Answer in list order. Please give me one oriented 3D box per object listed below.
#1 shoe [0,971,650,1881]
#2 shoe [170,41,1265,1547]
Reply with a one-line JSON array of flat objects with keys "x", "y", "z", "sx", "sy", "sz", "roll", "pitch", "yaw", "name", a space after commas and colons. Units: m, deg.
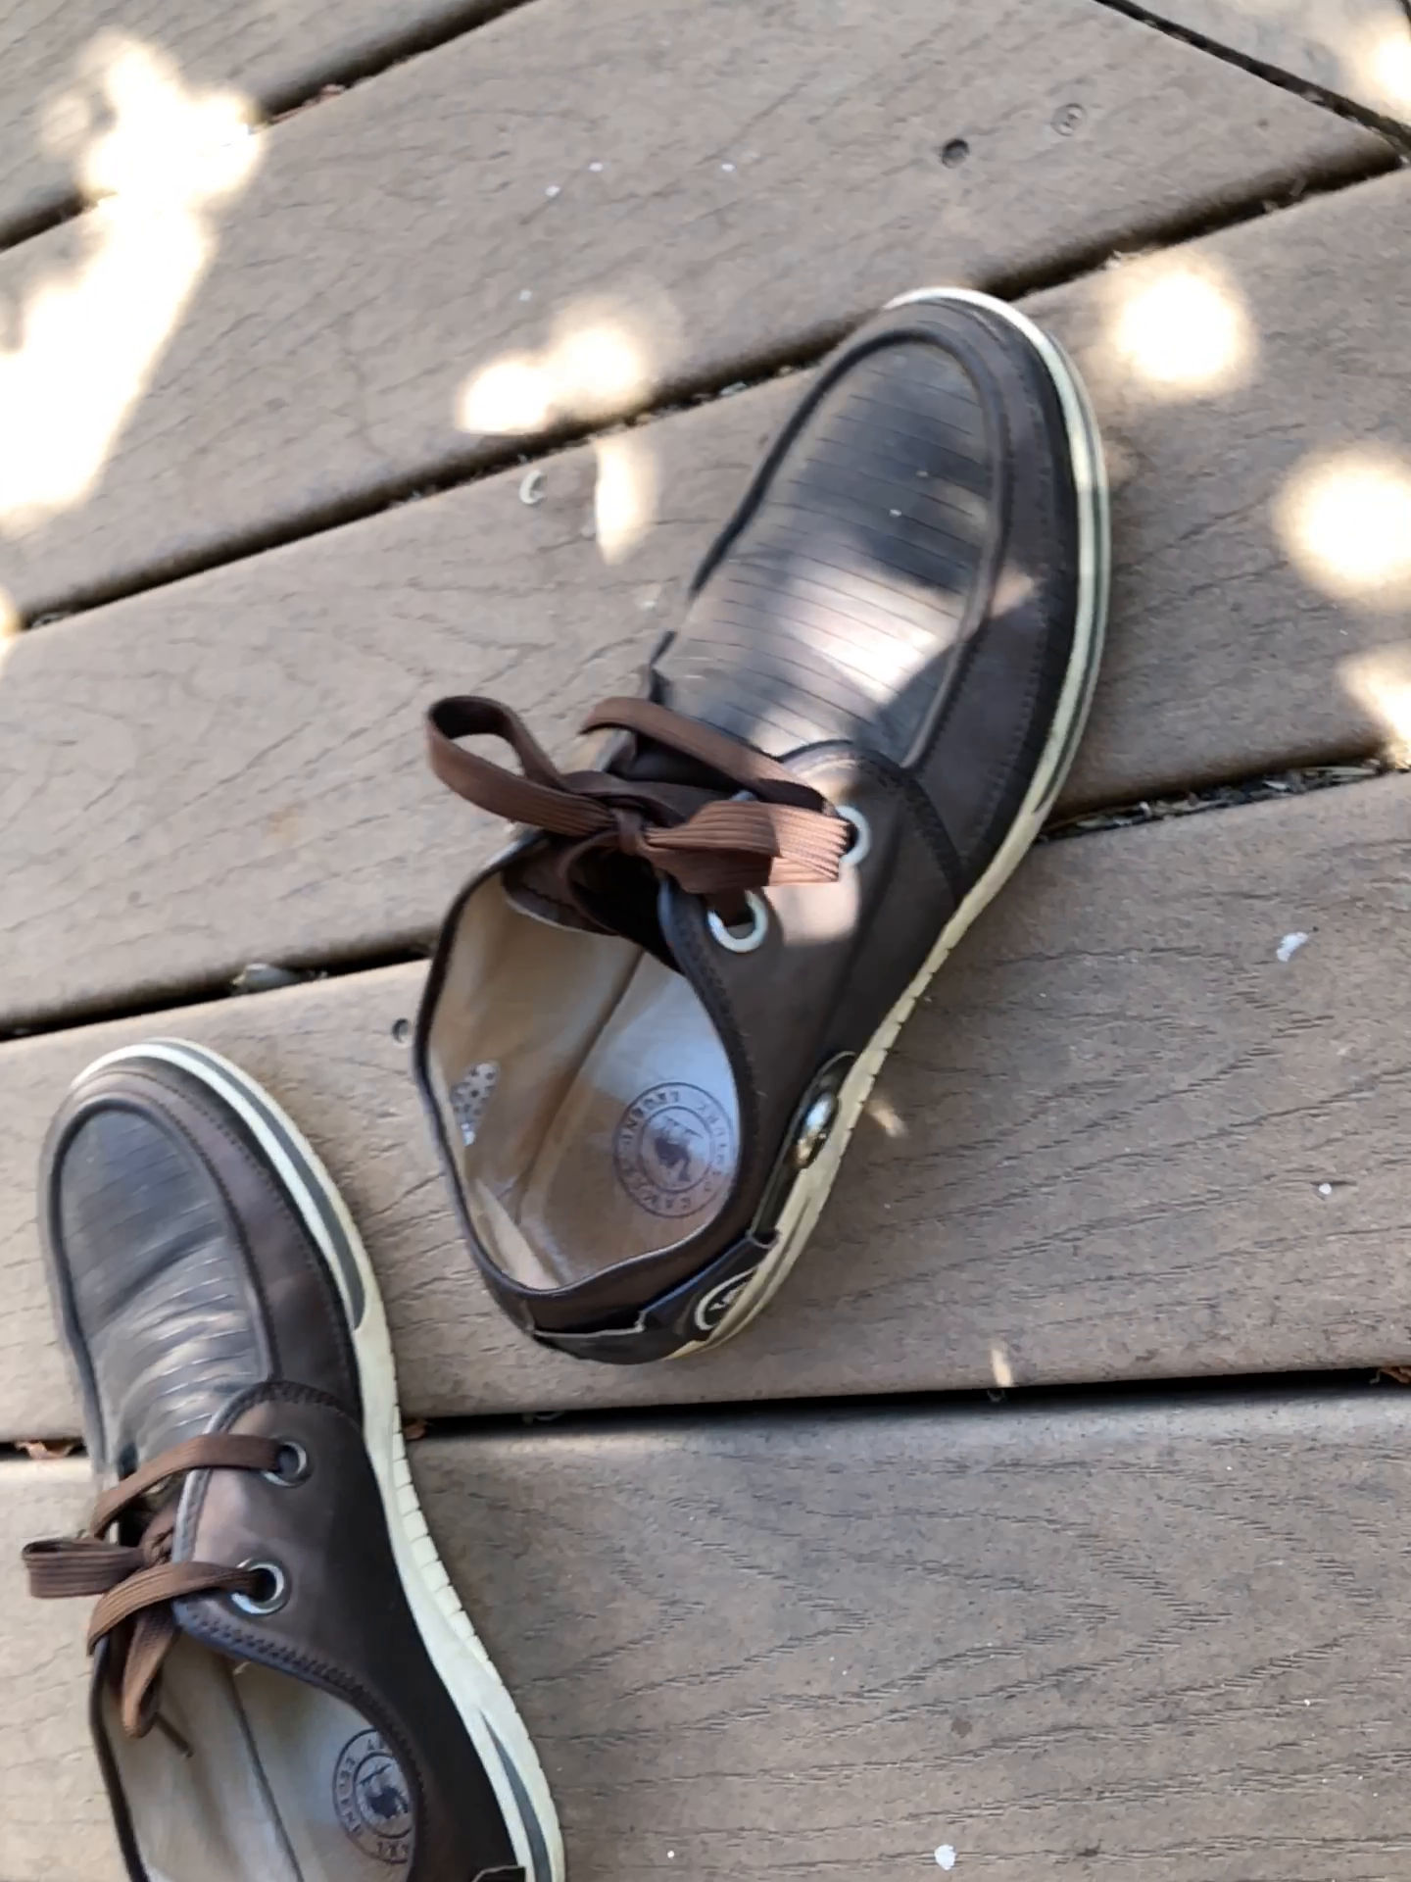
[{"x": -0.147, "y": 0.170, "z": 0.437, "sx": 0.110, "sy": 0.116, "sz": 0.302, "roll": -31, "pitch": 74, "yaw": 19, "name": "shoe"}, {"x": 0.007, "y": -0.028, "z": 0.384, "sx": 0.110, "sy": 0.116, "sz": 0.303, "roll": 30, "pitch": 98, "yaw": 23, "name": "shoe"}]
